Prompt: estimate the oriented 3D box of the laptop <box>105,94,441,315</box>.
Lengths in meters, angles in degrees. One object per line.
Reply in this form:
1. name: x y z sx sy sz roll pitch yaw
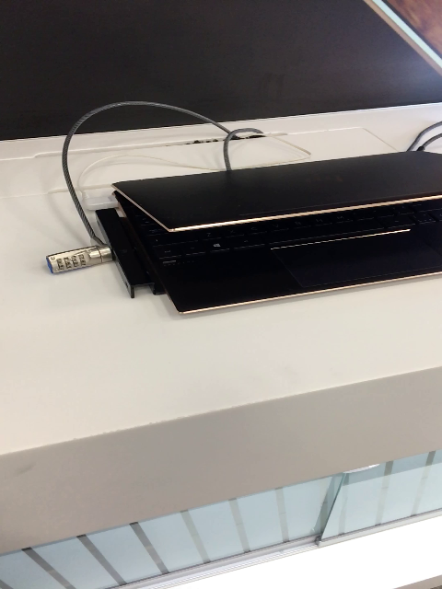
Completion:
1. laptop: 0.097 -0.095 0.523 0.344 0.072 0.198 -10 42 -12
